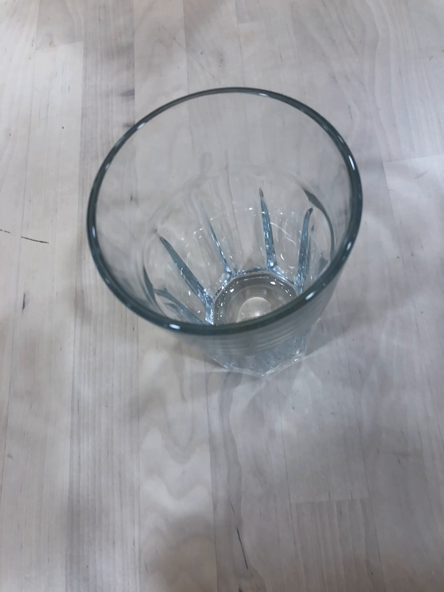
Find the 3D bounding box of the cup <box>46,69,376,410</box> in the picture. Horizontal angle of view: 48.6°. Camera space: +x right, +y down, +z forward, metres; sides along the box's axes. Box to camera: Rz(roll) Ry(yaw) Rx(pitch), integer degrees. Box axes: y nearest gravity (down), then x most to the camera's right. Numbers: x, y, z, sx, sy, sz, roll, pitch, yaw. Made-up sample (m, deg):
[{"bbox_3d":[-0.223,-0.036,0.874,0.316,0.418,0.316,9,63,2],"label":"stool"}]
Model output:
[{"bbox_3d":[0.011,-0.008,0.227,0.090,0.160,0.090,-3,70,9],"label":"cup"}]
